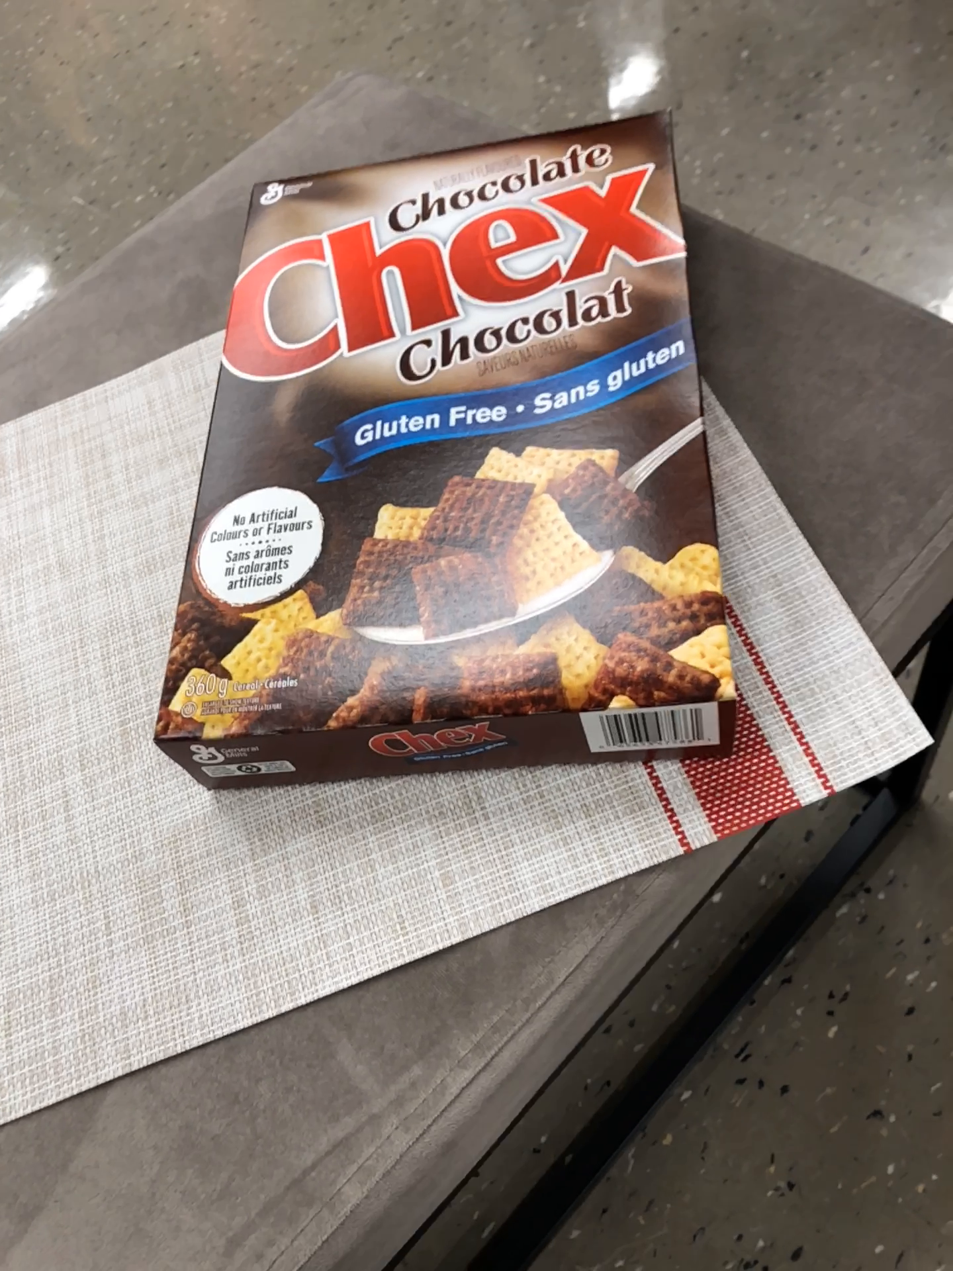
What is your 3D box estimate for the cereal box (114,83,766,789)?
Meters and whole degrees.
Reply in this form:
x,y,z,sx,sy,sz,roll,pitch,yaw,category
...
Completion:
x,y,z,sx,sy,sz,roll,pitch,yaw,category
-0.010,-0.090,0.425,0.210,0.050,0.290,-5,60,11,cereal box
